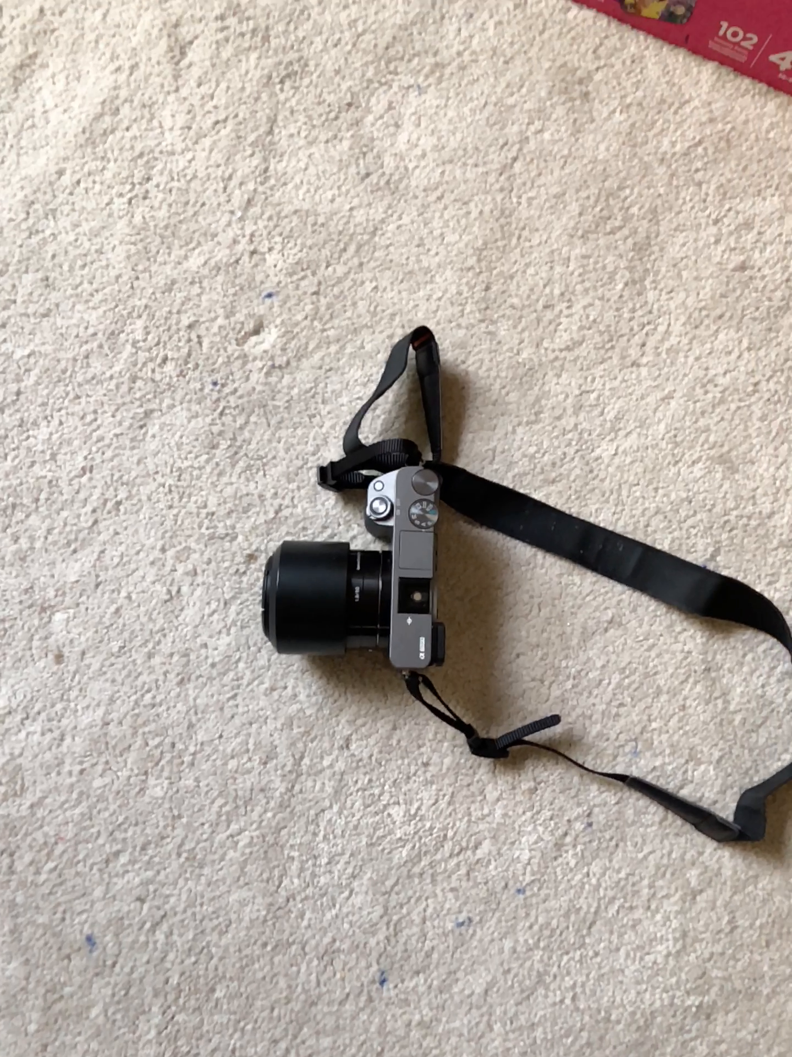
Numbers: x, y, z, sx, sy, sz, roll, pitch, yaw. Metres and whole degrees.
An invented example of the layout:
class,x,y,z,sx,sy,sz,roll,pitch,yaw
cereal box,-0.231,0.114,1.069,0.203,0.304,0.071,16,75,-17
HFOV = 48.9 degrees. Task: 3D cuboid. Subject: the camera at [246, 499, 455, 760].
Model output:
class,x,y,z,sx,sy,sz,roll,pitch,yaw
camera,-0.025,0.060,0.508,0.110,0.070,0.140,1,78,-2
